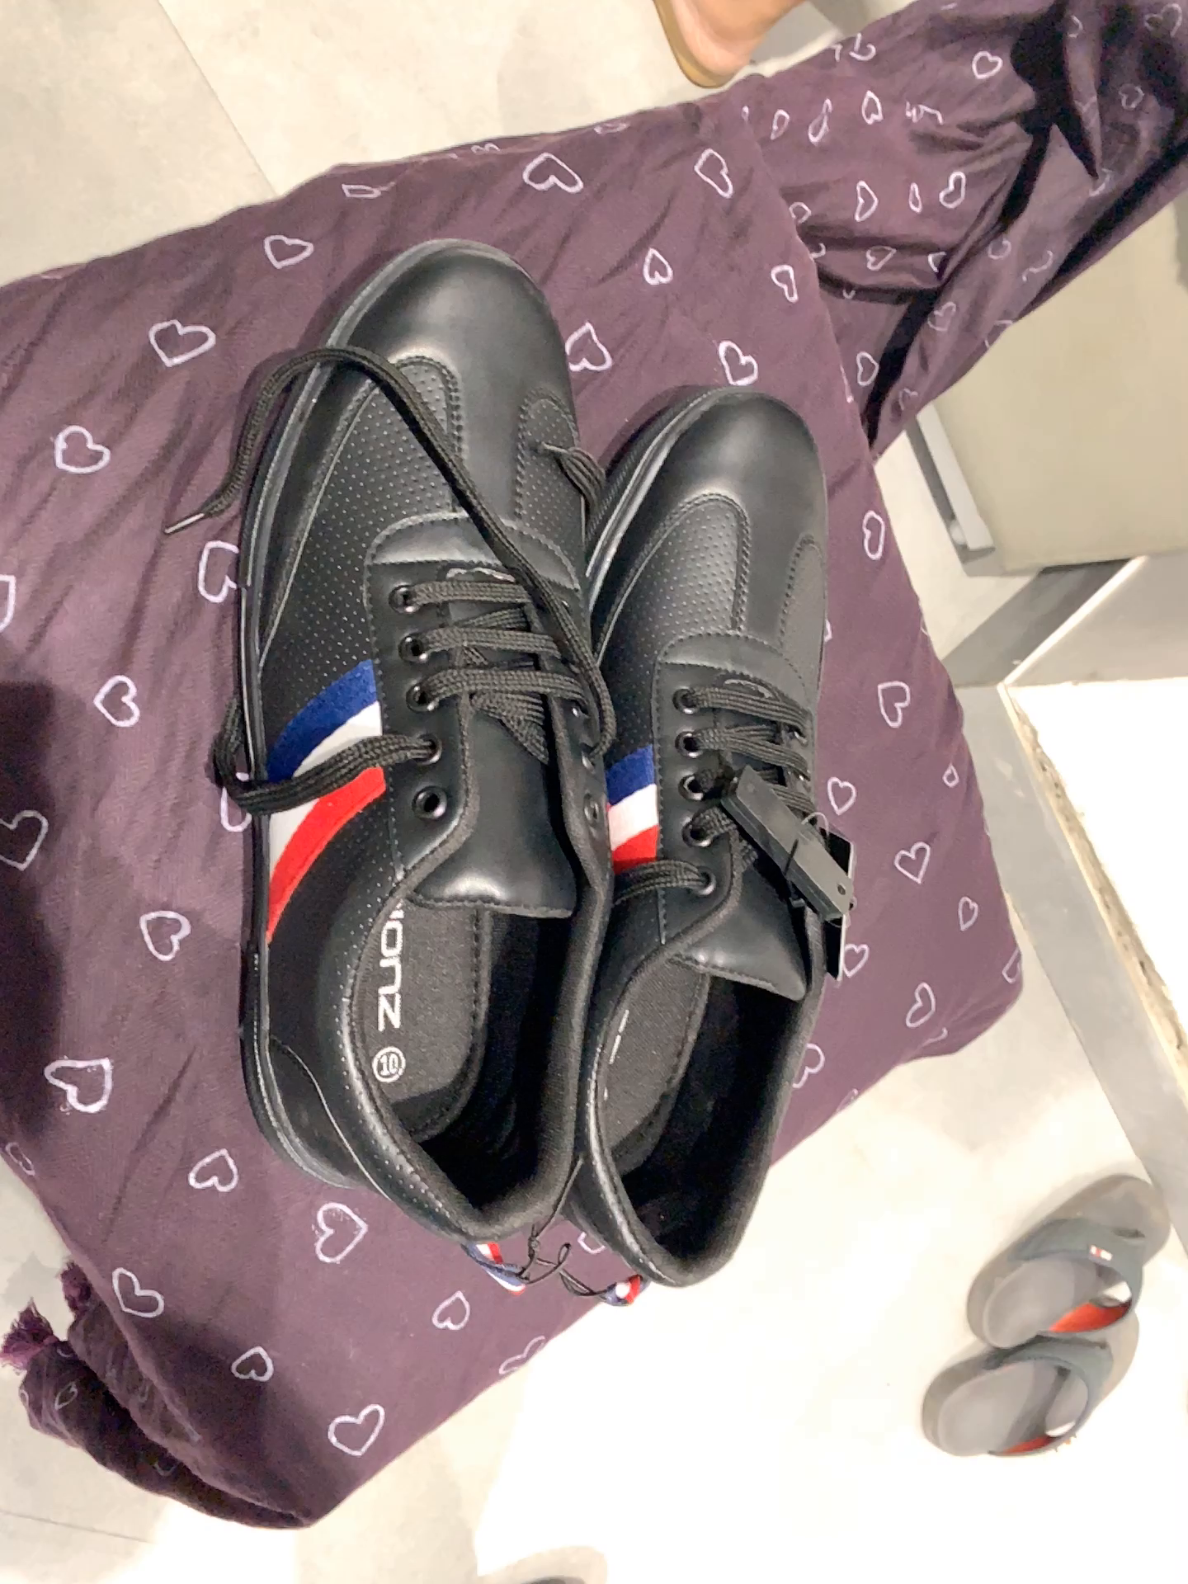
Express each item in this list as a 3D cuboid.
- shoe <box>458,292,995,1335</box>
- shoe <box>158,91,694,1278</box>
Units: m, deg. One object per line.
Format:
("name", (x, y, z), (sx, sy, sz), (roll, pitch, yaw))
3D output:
("shoe", (0.044, 0.011, 0.407), (0.110, 0.080, 0.300), (11, 87, -30))
("shoe", (-0.055, -0.025, 0.386), (0.120, 0.090, 0.310), (5, 90, -30))
